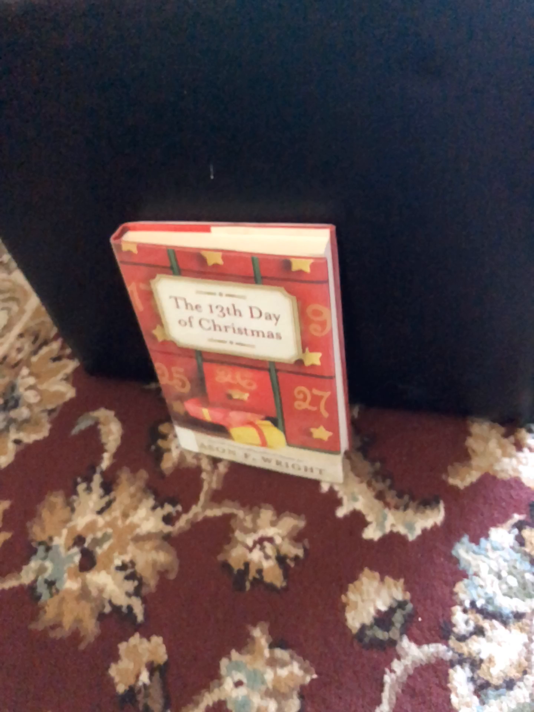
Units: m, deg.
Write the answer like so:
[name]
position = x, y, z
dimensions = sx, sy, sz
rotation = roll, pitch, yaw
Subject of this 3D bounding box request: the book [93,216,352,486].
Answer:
[book]
position = -0.018, 0.002, 0.405
dimensions = 0.138, 0.190, 0.040
rotation = 5, 42, 18
